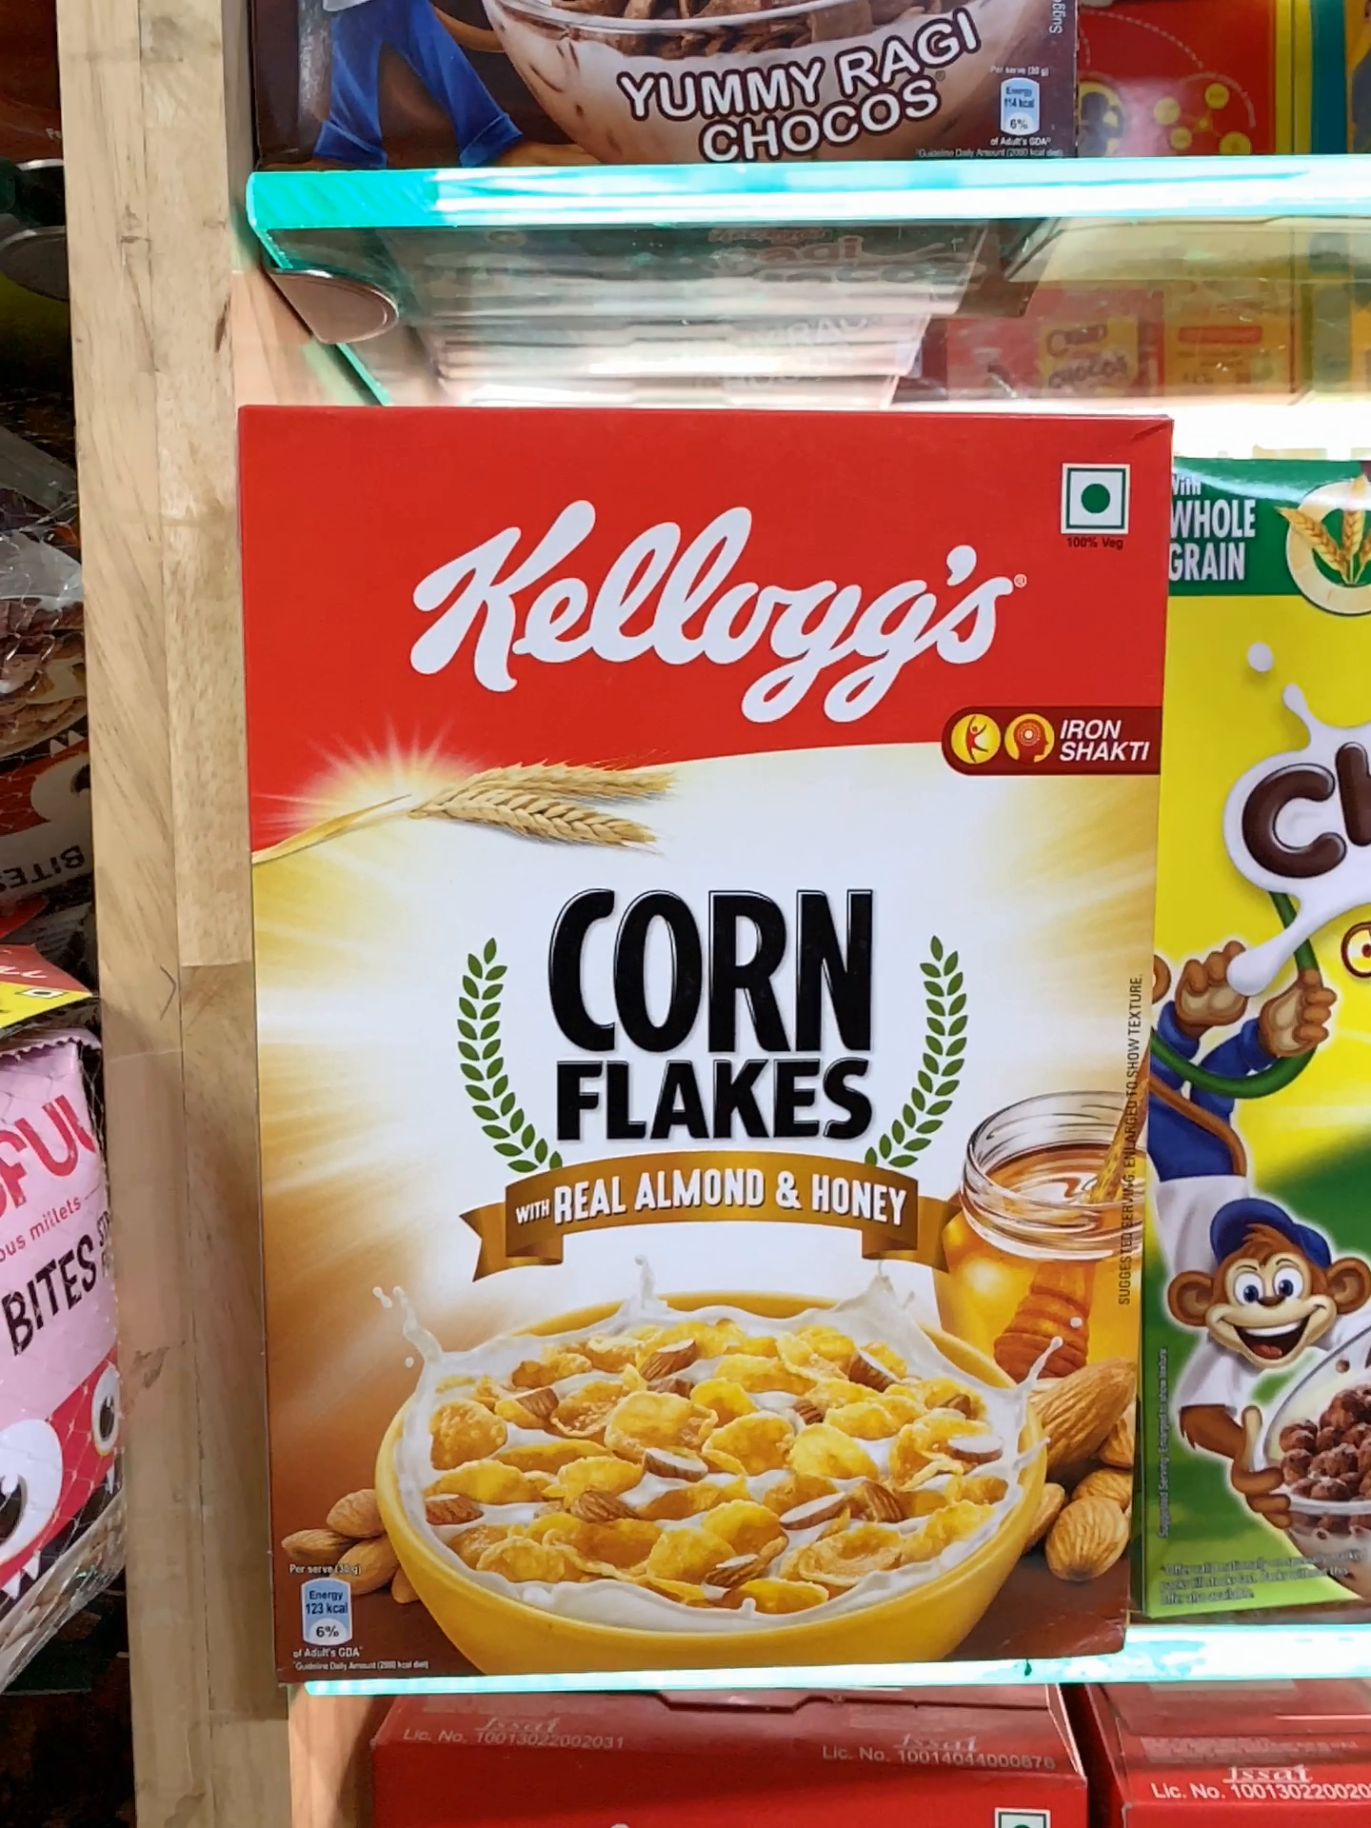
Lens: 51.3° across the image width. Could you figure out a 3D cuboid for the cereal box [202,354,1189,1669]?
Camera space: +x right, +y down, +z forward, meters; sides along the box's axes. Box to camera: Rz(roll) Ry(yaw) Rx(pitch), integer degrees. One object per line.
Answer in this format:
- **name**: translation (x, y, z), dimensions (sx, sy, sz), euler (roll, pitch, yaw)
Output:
- **cereal box**: translation (0.001, 0.019, 0.294), dimensions (0.170, 0.239, 0.070), euler (0, 6, -2)
